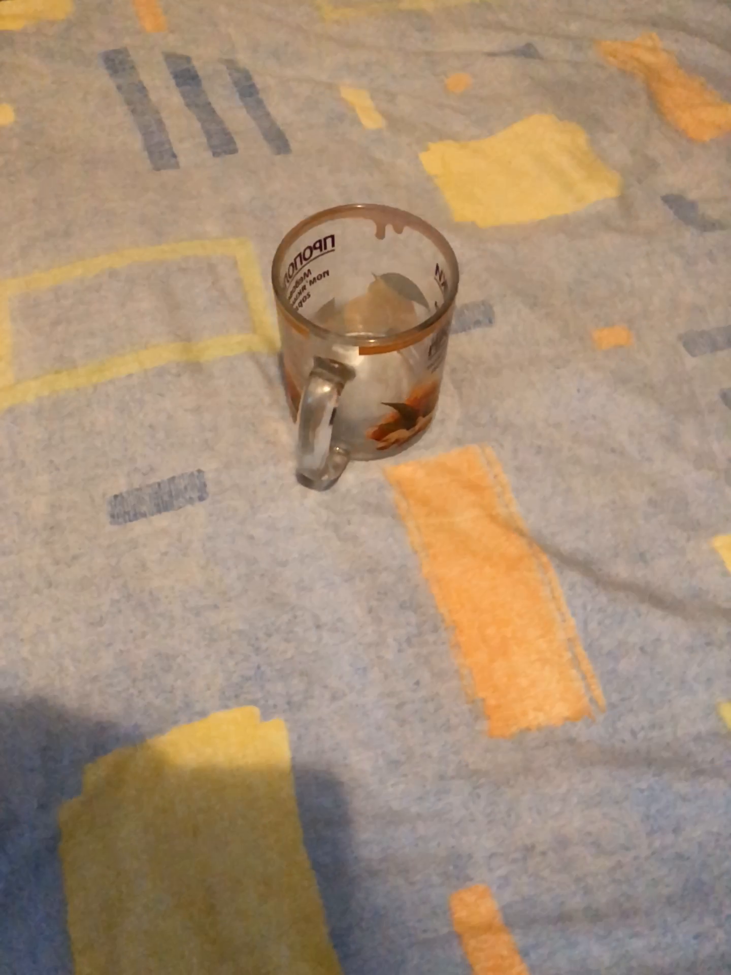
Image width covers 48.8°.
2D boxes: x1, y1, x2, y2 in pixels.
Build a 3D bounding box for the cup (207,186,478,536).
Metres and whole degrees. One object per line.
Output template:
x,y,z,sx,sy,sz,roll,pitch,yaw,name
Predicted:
-0.007,-0.056,0.370,0.084,0.092,0.110,14,60,6,cup
